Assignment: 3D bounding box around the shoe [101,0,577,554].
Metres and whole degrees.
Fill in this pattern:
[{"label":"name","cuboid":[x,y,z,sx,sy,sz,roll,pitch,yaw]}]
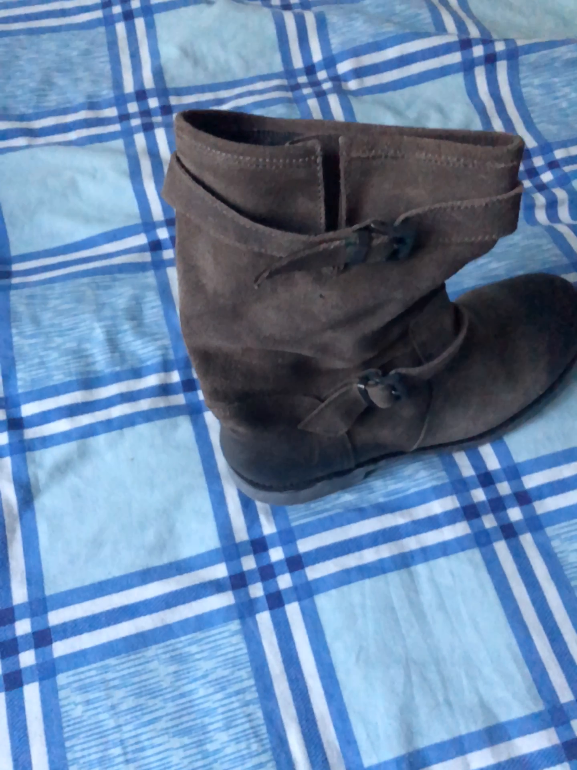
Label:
[{"label":"shoe","cuboid":[0.090,-0.047,0.413,0.320,0.289,0.130,-21,65,-10]}]
